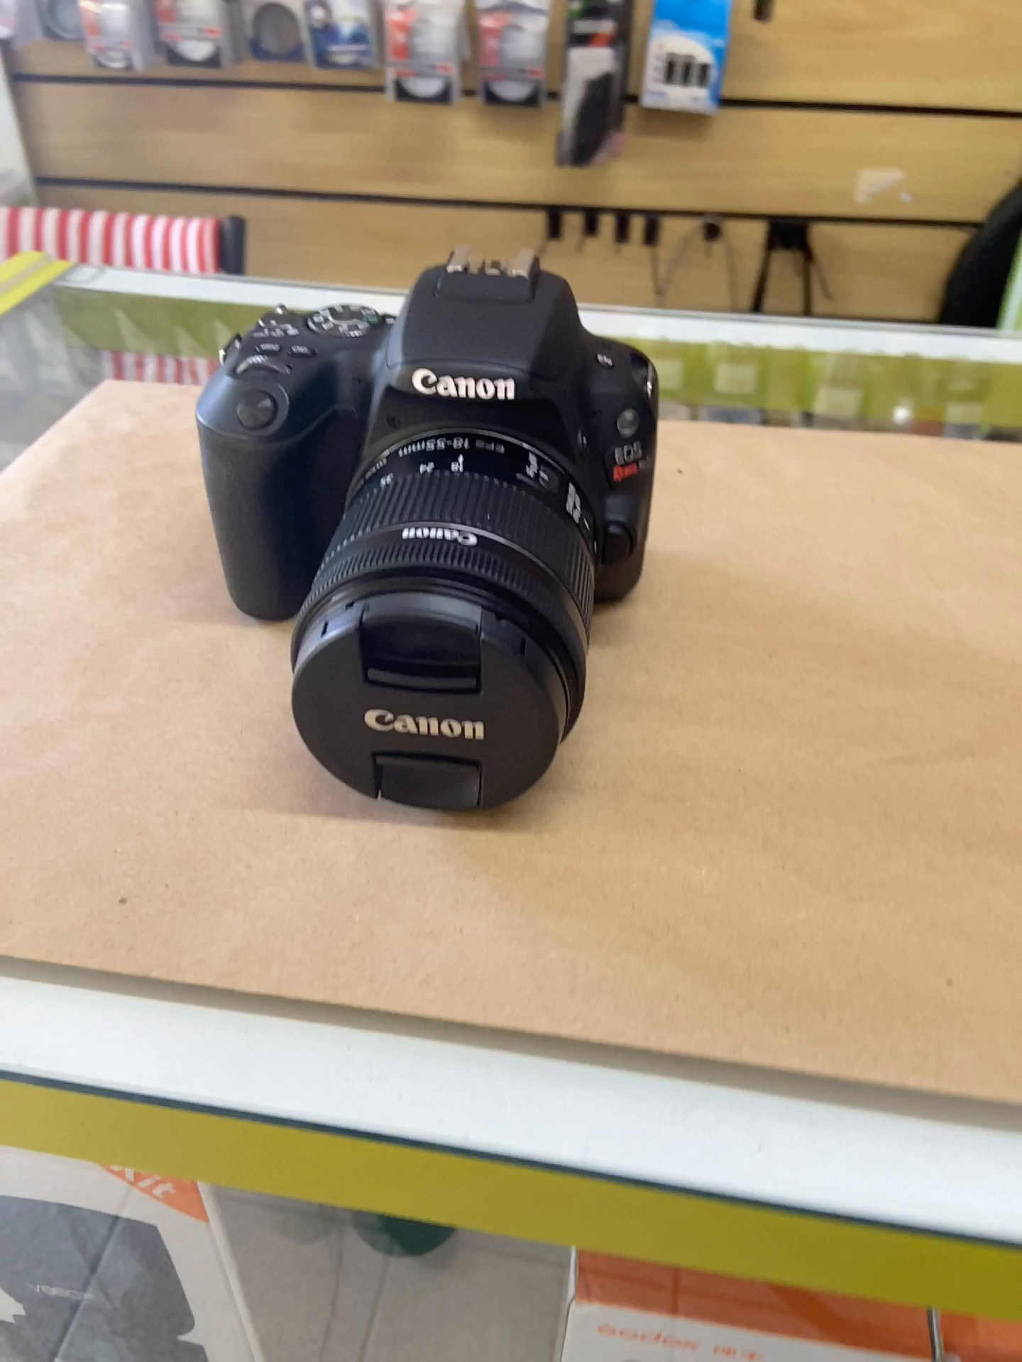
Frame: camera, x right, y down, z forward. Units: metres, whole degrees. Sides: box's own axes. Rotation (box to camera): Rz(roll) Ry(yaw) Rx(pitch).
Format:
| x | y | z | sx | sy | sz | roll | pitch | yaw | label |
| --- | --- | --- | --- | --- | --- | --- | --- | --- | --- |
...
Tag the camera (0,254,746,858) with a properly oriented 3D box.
| x | y | z | sx | sy | sz | roll | pitch | yaw | label |
| --- | --- | --- | --- | --- | --- | --- | --- | --- | --- |
| -0.024 | -0.039 | 0.265 | 0.140 | 0.089 | 0.131 | 2 | 39 | 3 | camera |
